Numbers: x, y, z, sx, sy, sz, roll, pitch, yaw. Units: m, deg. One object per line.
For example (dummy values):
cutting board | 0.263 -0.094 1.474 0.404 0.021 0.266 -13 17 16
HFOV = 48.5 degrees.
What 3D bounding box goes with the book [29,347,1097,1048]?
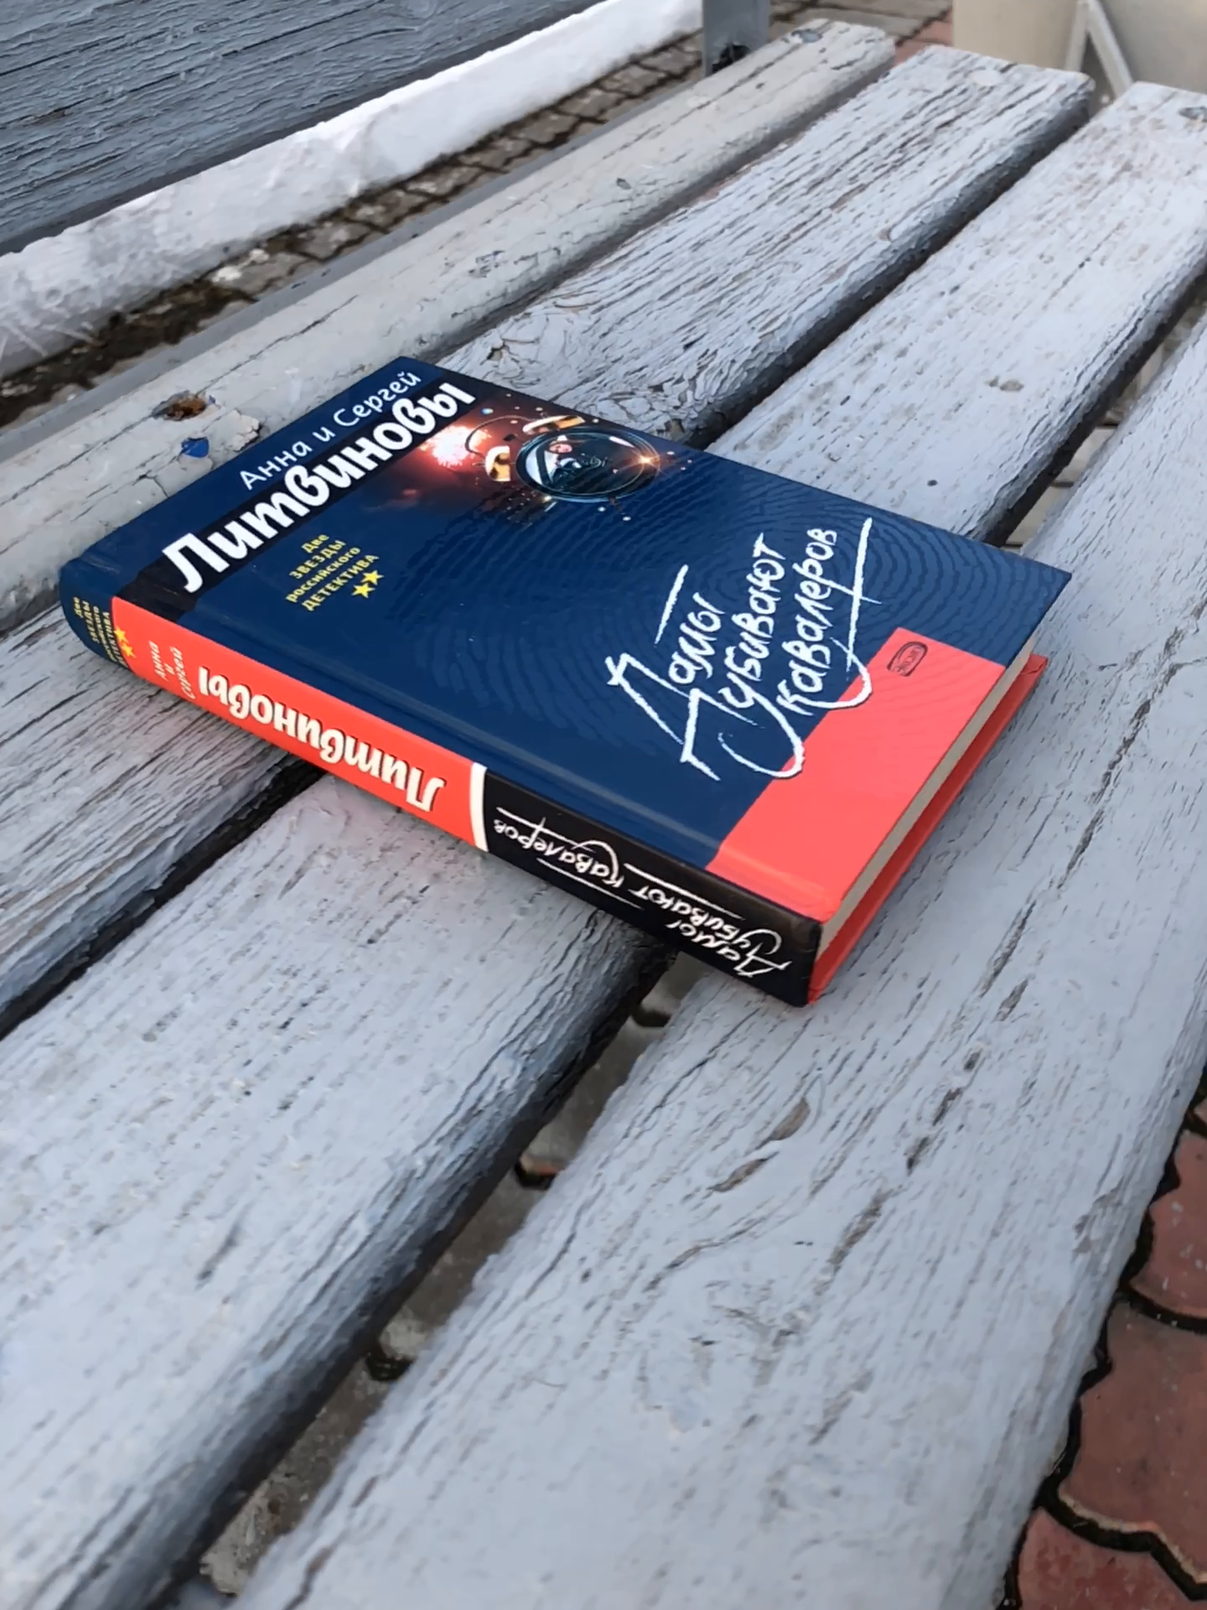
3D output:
book | -0.009 -0.043 0.317 0.208 0.030 0.130 24 49 22
